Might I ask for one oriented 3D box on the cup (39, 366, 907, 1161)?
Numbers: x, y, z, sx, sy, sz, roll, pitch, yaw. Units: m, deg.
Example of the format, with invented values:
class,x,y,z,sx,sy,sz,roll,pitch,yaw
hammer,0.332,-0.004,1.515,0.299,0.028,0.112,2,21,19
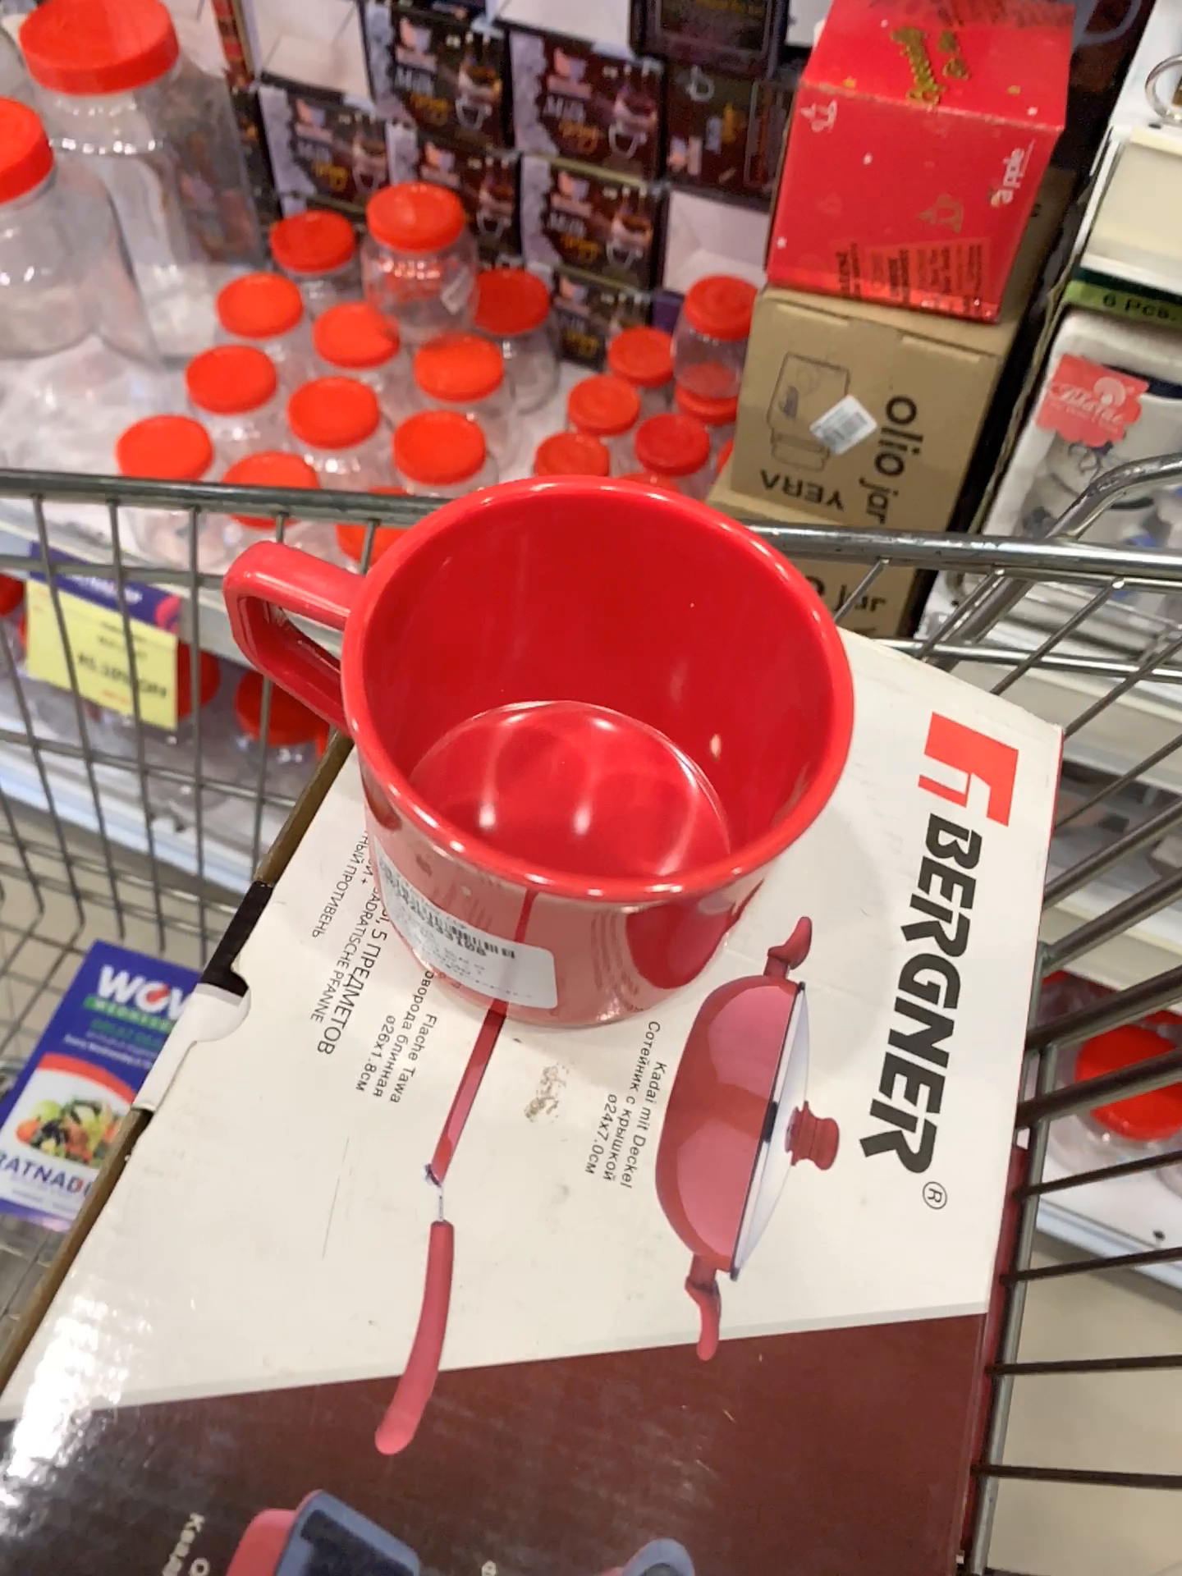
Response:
class,x,y,z,sx,sy,sz,roll,pitch,yaw
cup,-0.014,-0.004,0.184,0.090,0.060,0.070,23,58,9
